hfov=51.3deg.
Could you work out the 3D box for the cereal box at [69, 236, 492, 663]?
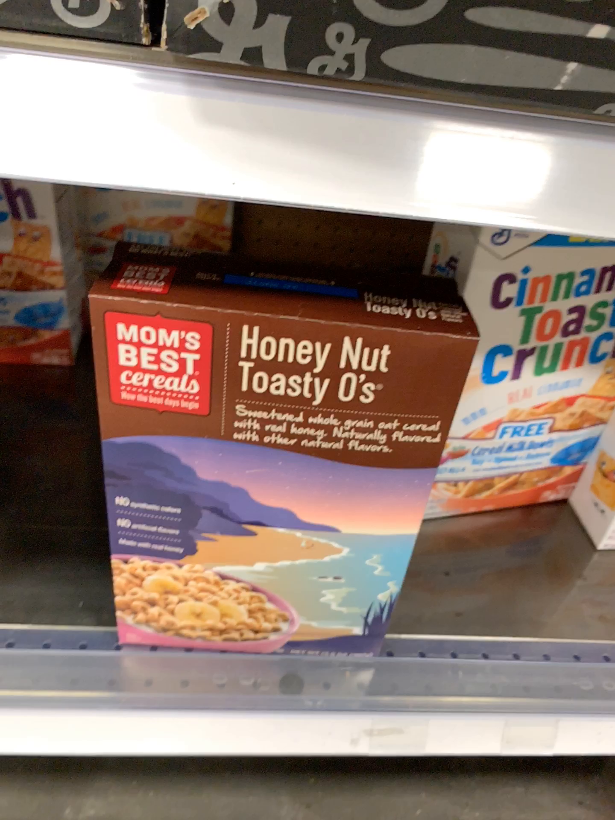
[{"bbox_3d":[-0.027,0.046,0.412,0.200,0.279,0.070,5,36,-5],"label":"cereal box"}]
